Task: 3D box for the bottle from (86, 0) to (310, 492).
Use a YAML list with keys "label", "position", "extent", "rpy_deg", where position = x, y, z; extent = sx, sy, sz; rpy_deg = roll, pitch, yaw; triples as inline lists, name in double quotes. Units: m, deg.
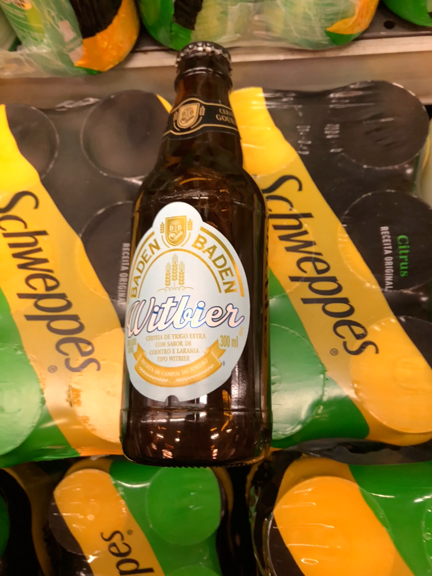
- label: "bottle"
  position: [-0.003, -0.030, 0.199]
  extent: [0.070, 0.060, 0.200]
  rpy_deg: [1, 79, 2]
